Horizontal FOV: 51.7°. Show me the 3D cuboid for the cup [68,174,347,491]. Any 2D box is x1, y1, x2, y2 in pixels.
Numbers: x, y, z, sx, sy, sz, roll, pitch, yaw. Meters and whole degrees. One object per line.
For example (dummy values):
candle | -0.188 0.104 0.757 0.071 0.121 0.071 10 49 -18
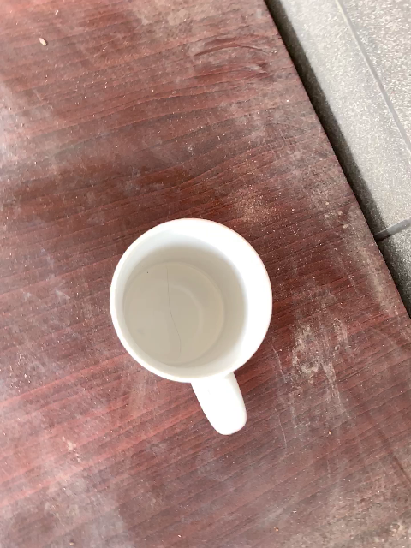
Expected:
cup | -0.007 0.031 0.244 0.090 0.100 0.120 -22 83 -14
